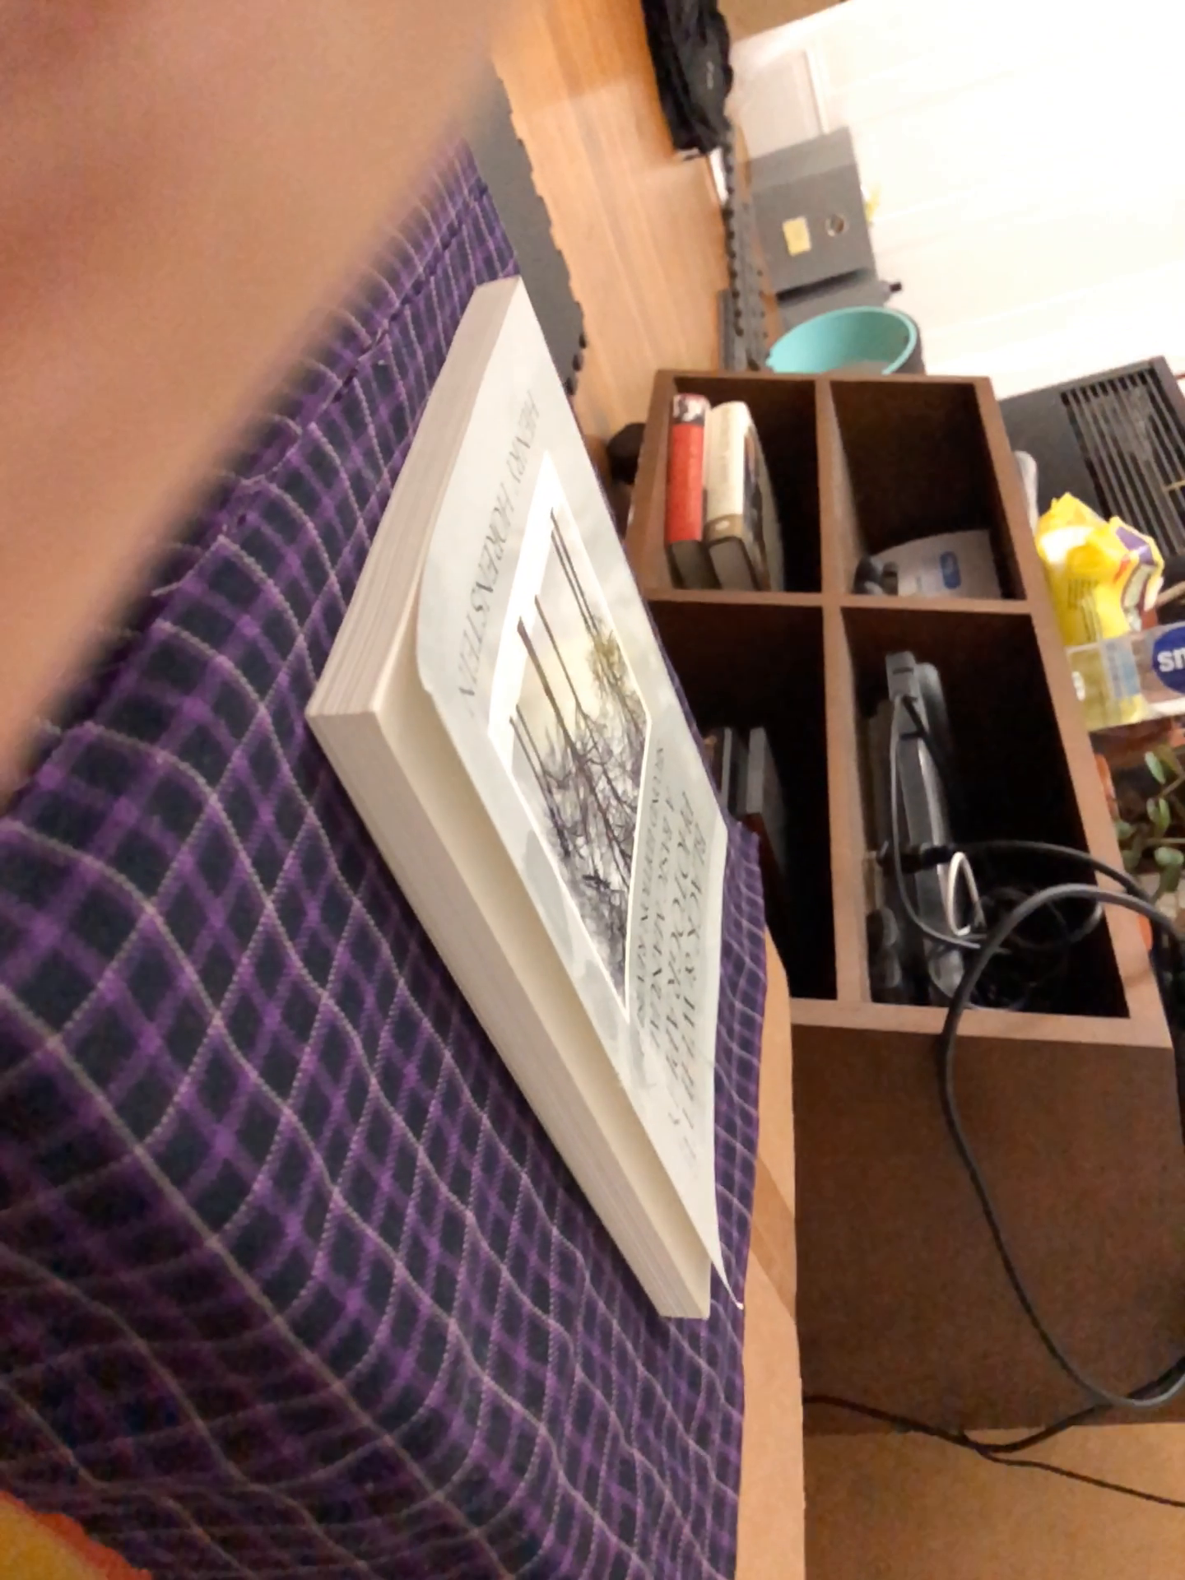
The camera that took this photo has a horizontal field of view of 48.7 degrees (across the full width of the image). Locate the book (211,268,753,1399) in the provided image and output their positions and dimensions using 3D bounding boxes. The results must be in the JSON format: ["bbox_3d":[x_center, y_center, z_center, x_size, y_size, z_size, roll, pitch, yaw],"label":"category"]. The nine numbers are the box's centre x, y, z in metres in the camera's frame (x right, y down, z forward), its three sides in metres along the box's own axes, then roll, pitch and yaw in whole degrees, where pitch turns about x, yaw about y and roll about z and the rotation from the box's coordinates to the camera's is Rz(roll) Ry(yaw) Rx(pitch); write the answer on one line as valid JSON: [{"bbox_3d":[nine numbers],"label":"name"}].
[{"bbox_3d":[-0.001,0.014,0.377,0.211,0.030,0.250,-82,155,-47],"label":"book"}]
